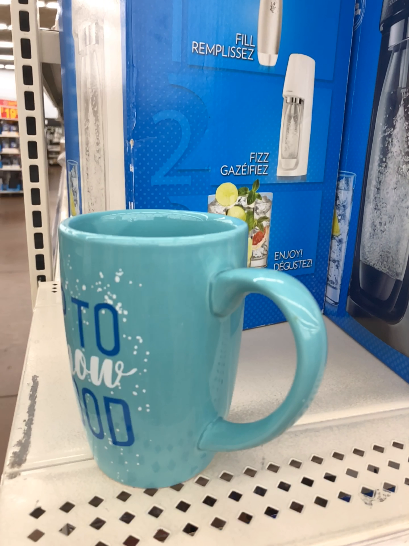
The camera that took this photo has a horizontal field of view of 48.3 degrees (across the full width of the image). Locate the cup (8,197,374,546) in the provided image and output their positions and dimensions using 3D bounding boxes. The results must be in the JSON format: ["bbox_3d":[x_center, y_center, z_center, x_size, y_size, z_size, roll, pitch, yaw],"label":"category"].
[{"bbox_3d":[-0.008,0.033,0.222,0.140,0.120,0.090,12,19,32],"label":"cup"}]
